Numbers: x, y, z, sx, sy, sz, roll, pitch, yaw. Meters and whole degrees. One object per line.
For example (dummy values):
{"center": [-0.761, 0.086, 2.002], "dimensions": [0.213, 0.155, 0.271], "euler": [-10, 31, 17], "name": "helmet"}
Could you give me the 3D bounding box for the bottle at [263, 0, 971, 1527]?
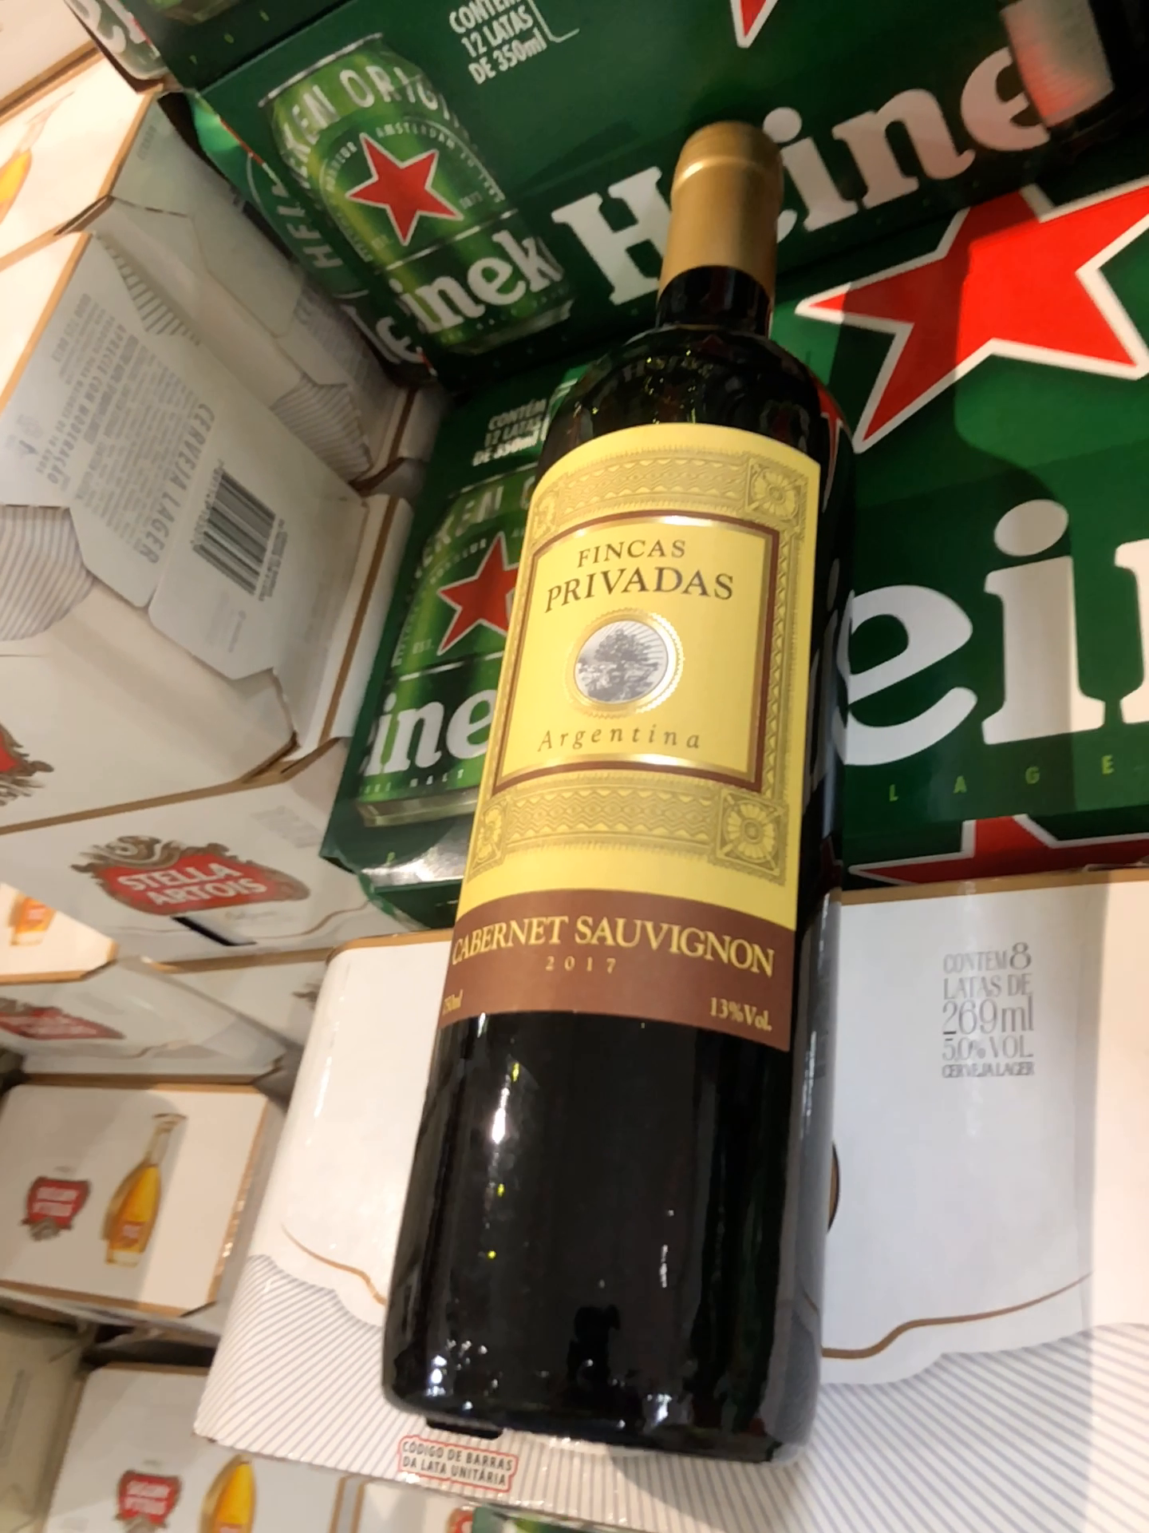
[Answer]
{"center": [0.031, -0.037, 0.274], "dimensions": [0.080, 0.060, 0.331], "euler": [-8, 56, 32], "name": "bottle"}
